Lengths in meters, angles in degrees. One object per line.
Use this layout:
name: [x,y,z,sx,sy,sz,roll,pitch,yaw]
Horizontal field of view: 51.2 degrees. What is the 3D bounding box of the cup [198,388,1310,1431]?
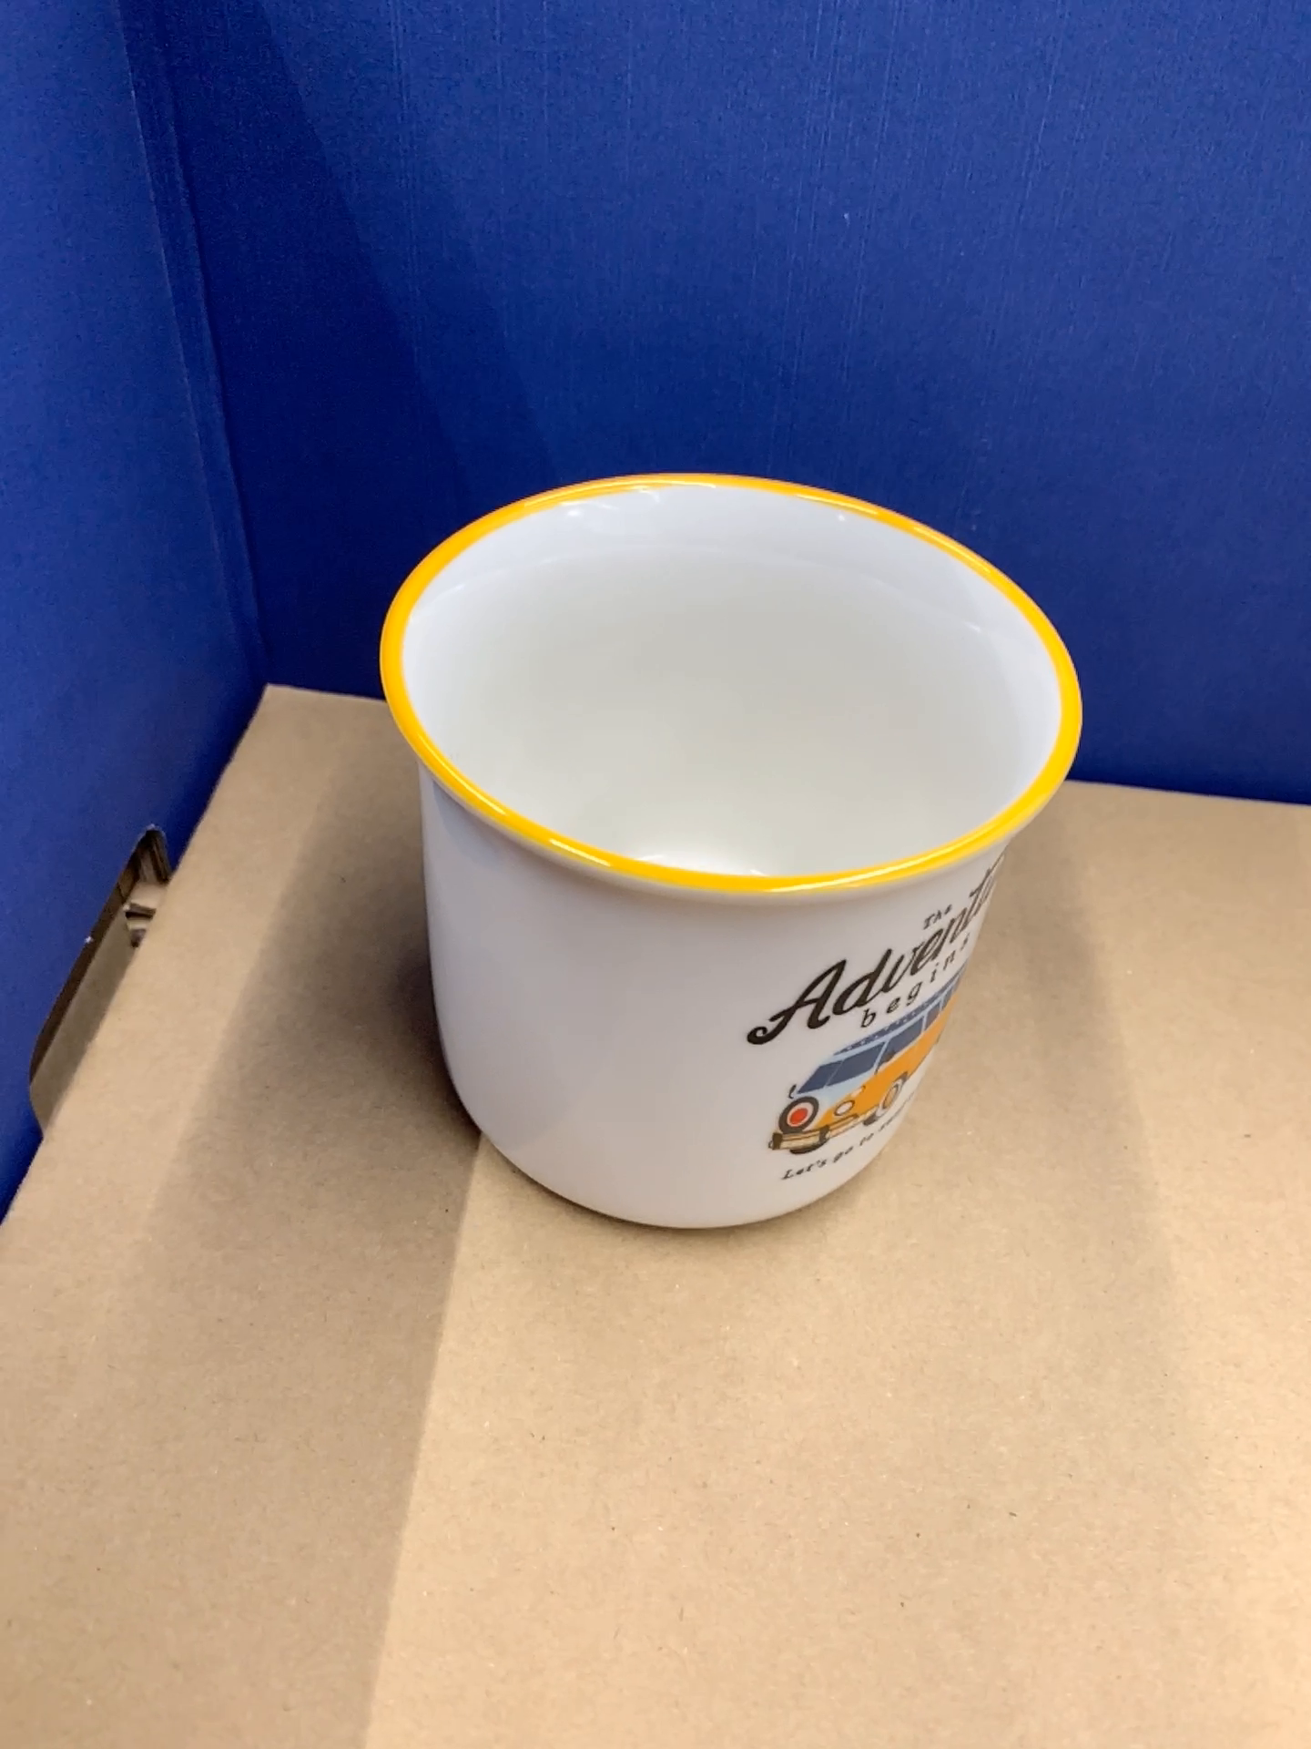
cup: [0.014,-0.006,0.221,0.124,0.083,0.102,-29,51,-31]
